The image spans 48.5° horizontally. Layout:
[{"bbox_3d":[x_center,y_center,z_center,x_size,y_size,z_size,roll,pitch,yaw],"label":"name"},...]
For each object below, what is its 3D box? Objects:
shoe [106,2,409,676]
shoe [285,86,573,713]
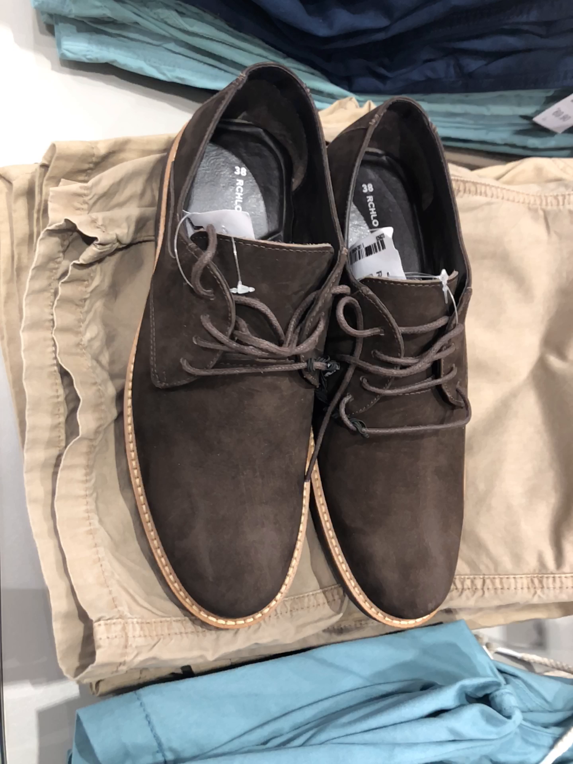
[{"bbox_3d":[-0.020,-0.015,0.312,0.110,0.110,0.260,4,85,-17],"label":"shoe"},{"bbox_3d":[0.070,0.004,0.327,0.100,0.110,0.260,-3,85,-13],"label":"shoe"}]
